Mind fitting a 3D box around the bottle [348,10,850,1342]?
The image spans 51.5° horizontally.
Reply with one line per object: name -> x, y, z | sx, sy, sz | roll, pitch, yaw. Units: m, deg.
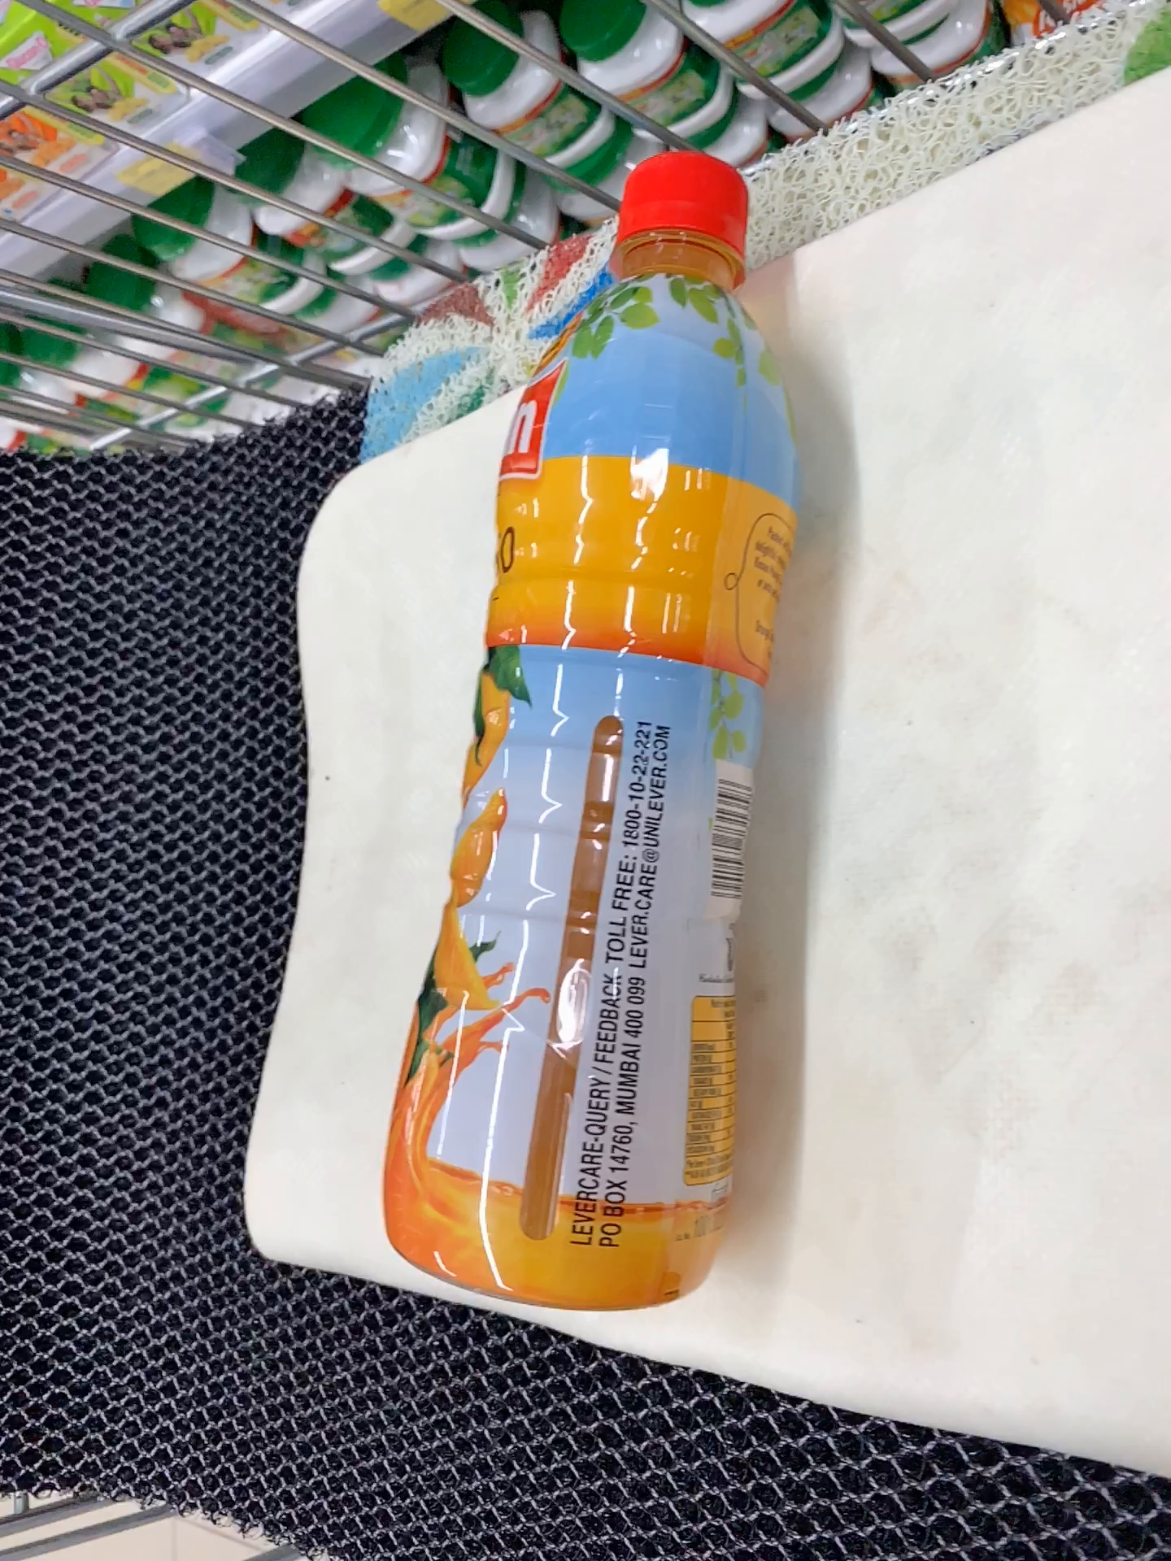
bottle -> 0.006, -0.020, 0.249 | 0.080, 0.070, 0.230 | 2, 89, 8
